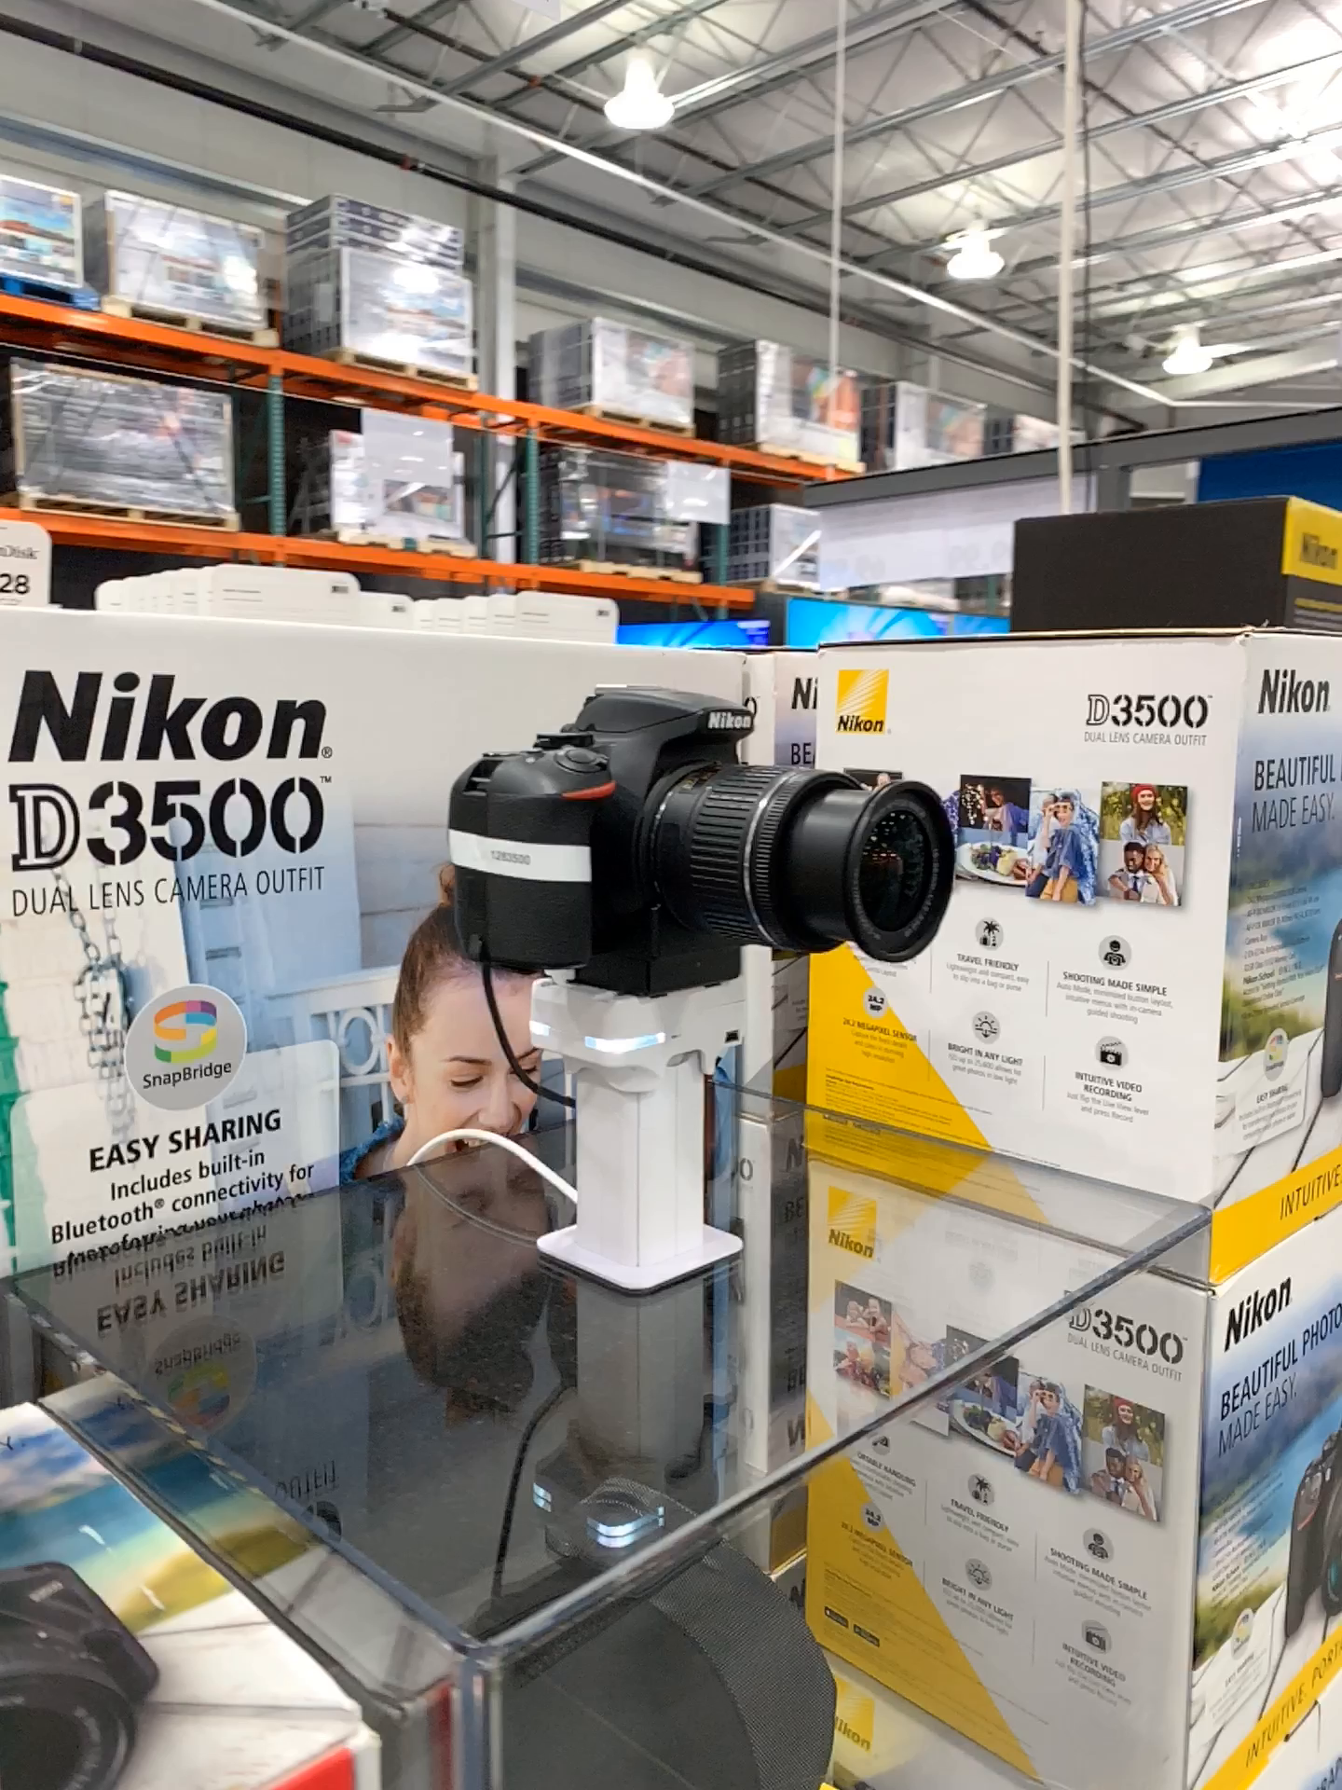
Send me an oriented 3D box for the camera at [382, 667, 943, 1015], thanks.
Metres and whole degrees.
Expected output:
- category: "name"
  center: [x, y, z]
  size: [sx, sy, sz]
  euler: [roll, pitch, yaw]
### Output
- category: "camera"
  center: [-0.005, -0.029, 0.493]
  size: [0.150, 0.100, 0.130]
  euler: [9, 10, 42]
